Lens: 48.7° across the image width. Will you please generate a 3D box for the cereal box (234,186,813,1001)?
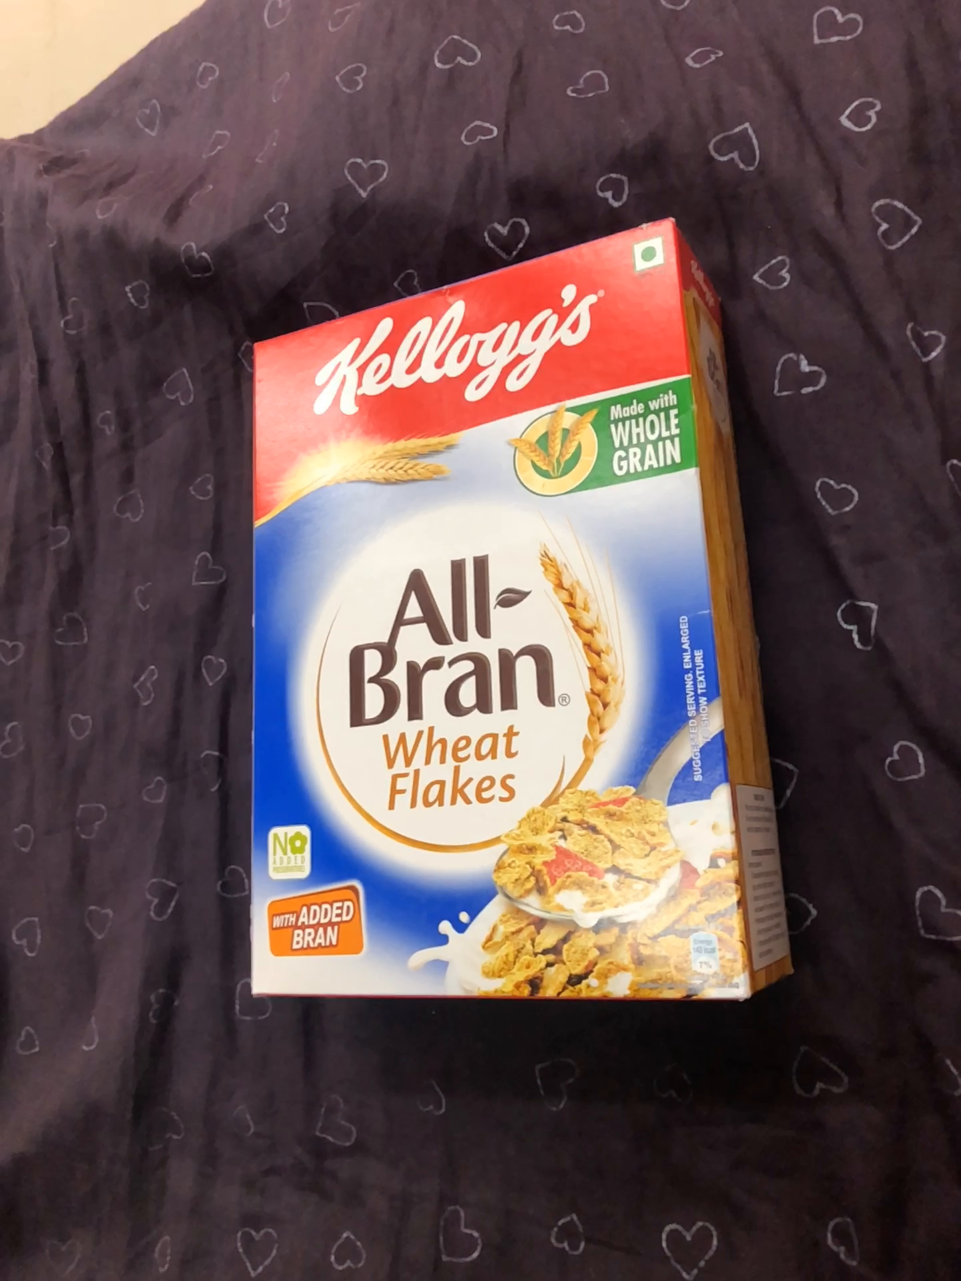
[{"bbox_3d":[0.007,-0.007,0.398,0.190,0.070,0.260,-8,77,25],"label":"cereal box"}]
